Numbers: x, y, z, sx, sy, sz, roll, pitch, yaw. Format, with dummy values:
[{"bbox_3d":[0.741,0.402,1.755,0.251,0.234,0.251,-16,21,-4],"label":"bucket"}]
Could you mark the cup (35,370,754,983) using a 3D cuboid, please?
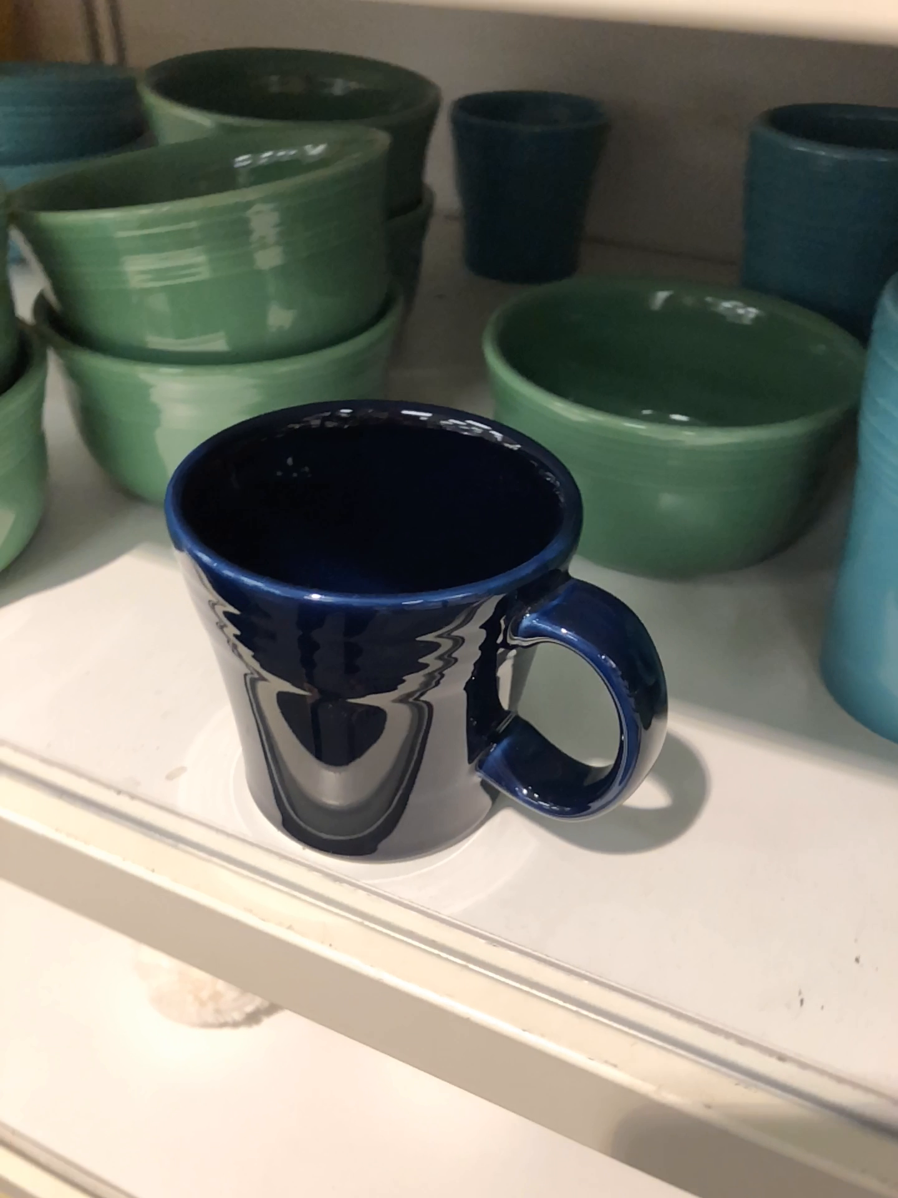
[{"bbox_3d":[-0.010,0.010,0.264,0.143,0.085,0.094,16,40,21],"label":"cup"}]
